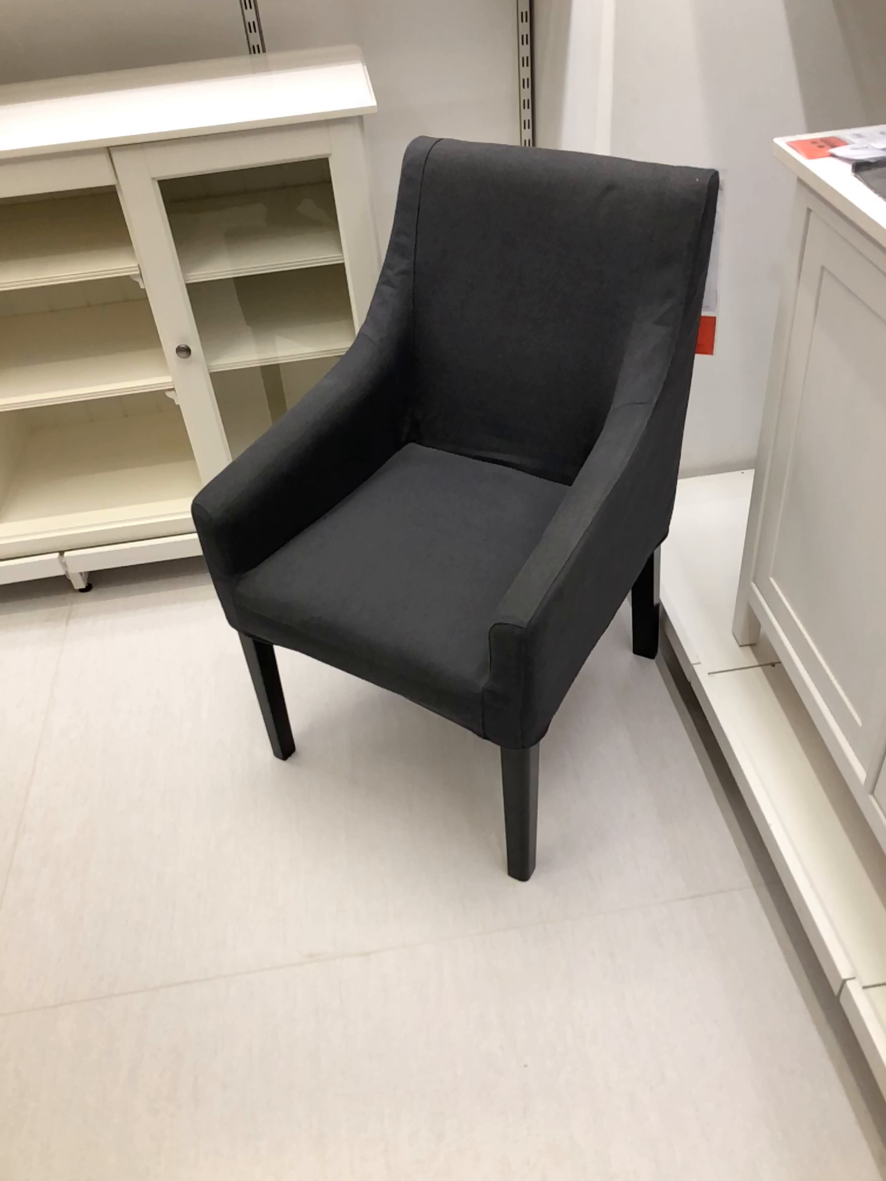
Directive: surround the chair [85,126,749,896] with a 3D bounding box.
[{"bbox_3d":[0.016,-0.145,1.527,0.612,0.884,0.623,21,46,28],"label":"chair"}]
